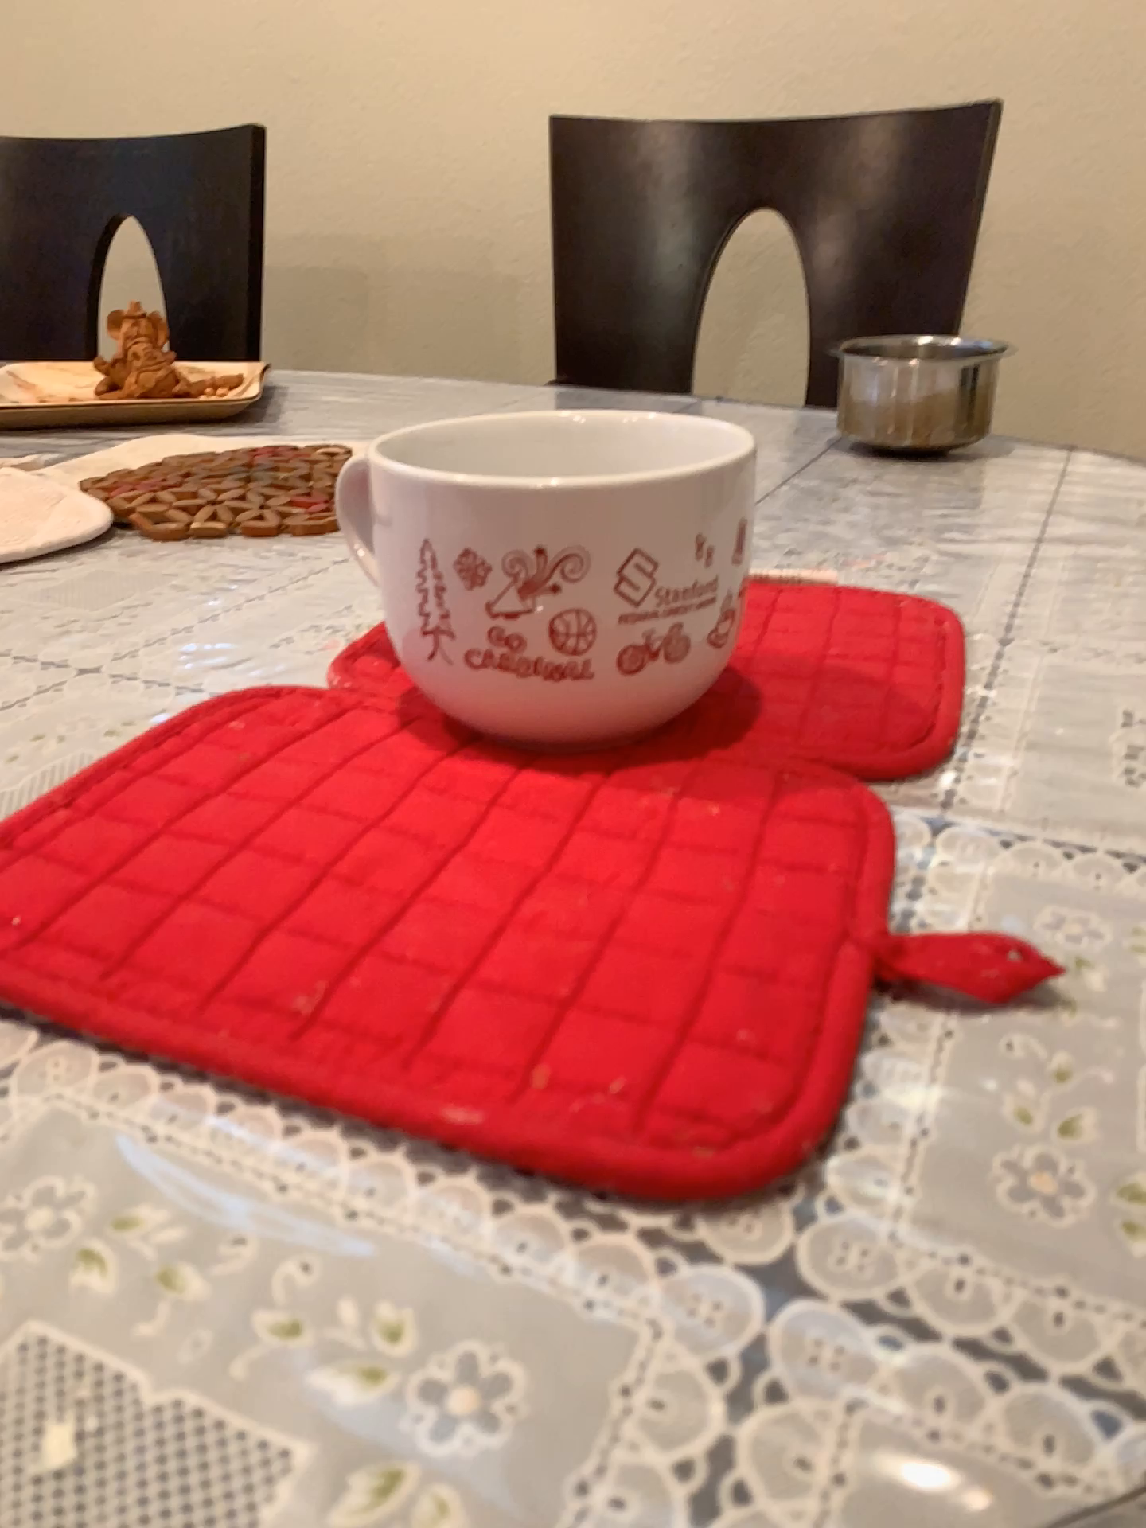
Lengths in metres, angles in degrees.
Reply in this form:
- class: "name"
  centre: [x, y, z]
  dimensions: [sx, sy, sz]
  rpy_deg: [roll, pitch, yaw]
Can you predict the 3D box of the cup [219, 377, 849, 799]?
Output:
- class: "cup"
  centre: [-0.008, -0.065, 0.359]
  dimensions: [0.140, 0.079, 0.121]
  rpy_deg: [16, 30, 31]
